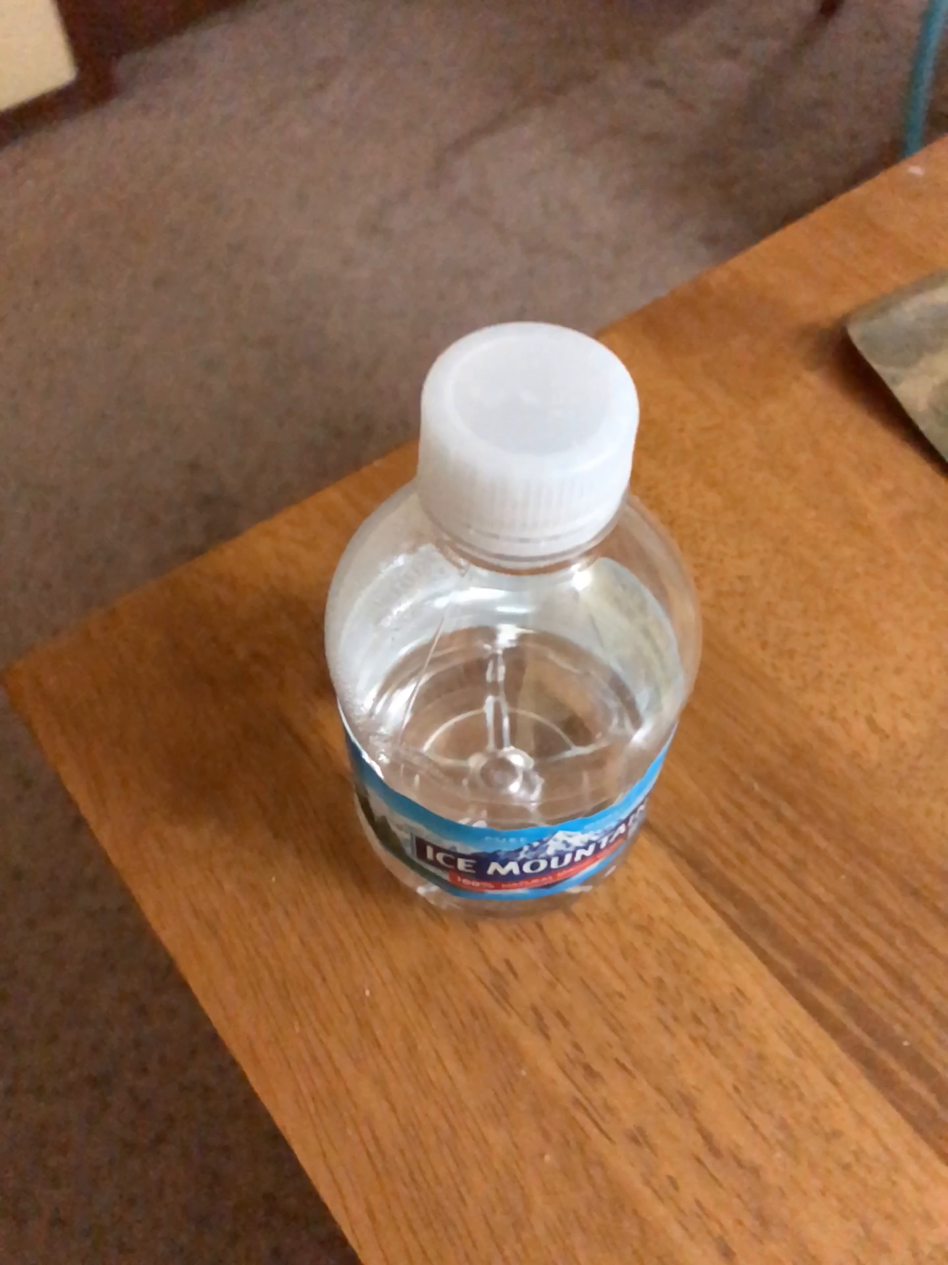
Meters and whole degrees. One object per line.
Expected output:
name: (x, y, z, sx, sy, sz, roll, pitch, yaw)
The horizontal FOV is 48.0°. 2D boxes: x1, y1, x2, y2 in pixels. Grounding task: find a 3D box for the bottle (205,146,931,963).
bottle: (0.006, -0.004, 0.174, 0.070, 0.110, 0.070, 0, 58, 0)
